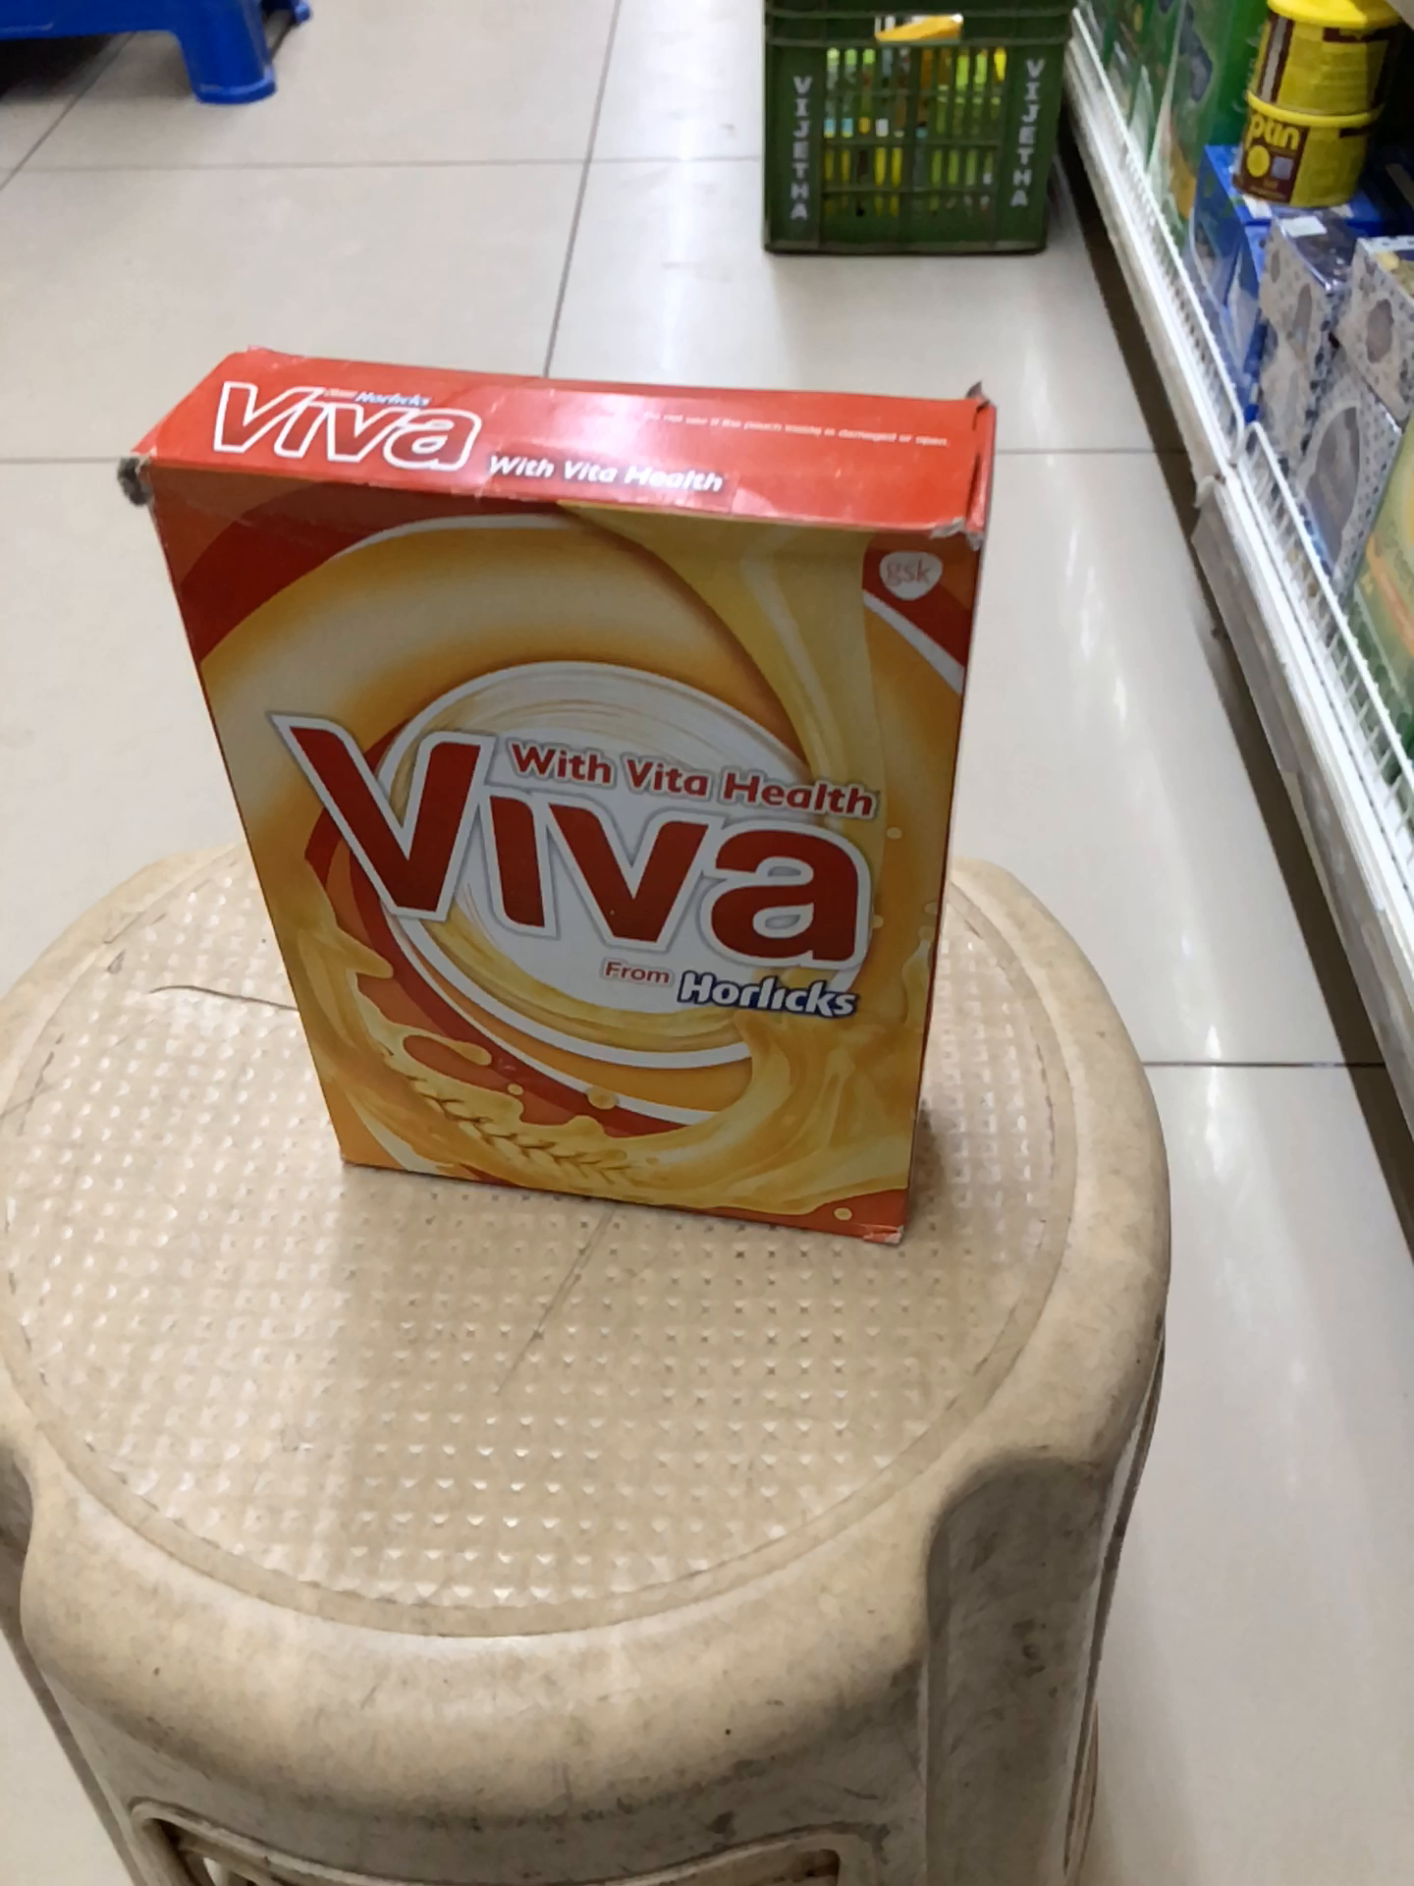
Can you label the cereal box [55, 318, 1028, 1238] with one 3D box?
[{"bbox_3d":[-0.024,-0.023,0.341,0.160,0.199,0.050,6,47,8],"label":"cereal box"}]
